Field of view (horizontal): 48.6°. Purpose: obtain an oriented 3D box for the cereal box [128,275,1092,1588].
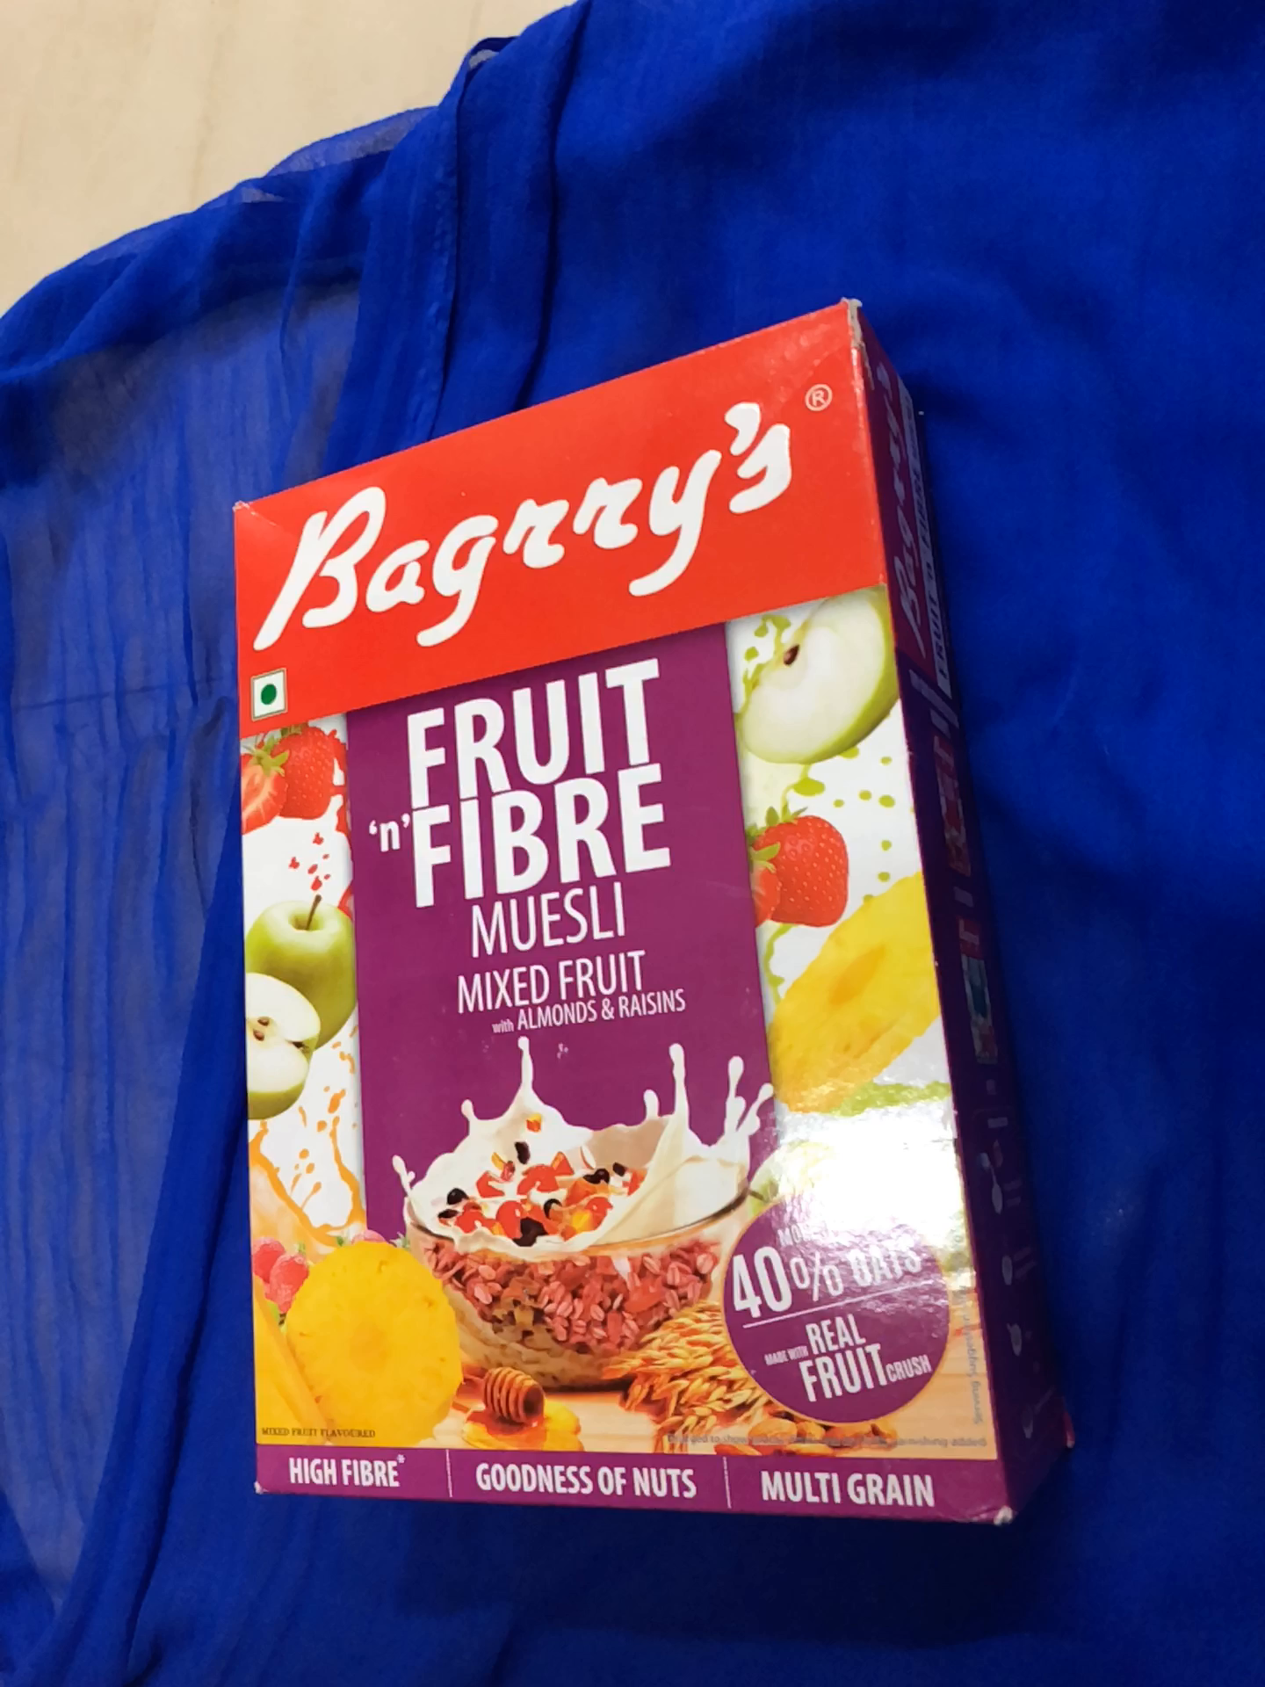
[{"bbox_3d":[-0.016,0.027,0.341,0.200,0.080,0.250,-10,78,24],"label":"cereal box"}]
